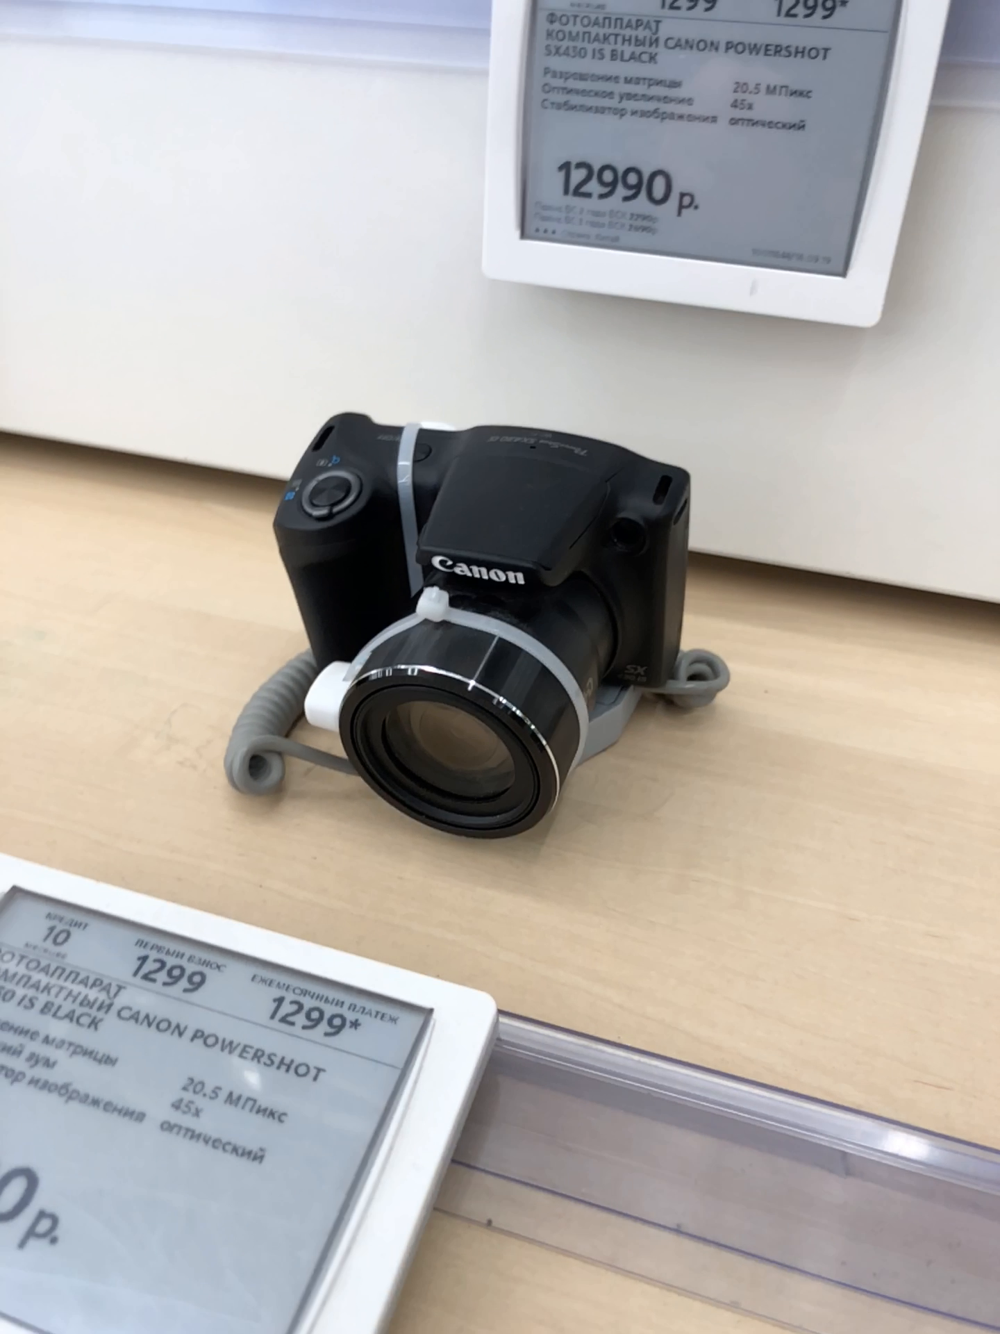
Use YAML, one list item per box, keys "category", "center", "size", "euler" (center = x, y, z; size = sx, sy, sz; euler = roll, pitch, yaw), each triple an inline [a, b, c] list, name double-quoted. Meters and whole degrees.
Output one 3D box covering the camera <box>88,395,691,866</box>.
- category: "camera"
  center: [-0.020, -0.016, 0.277]
  size: [0.116, 0.062, 0.093]
  euler: [10, 32, 11]
